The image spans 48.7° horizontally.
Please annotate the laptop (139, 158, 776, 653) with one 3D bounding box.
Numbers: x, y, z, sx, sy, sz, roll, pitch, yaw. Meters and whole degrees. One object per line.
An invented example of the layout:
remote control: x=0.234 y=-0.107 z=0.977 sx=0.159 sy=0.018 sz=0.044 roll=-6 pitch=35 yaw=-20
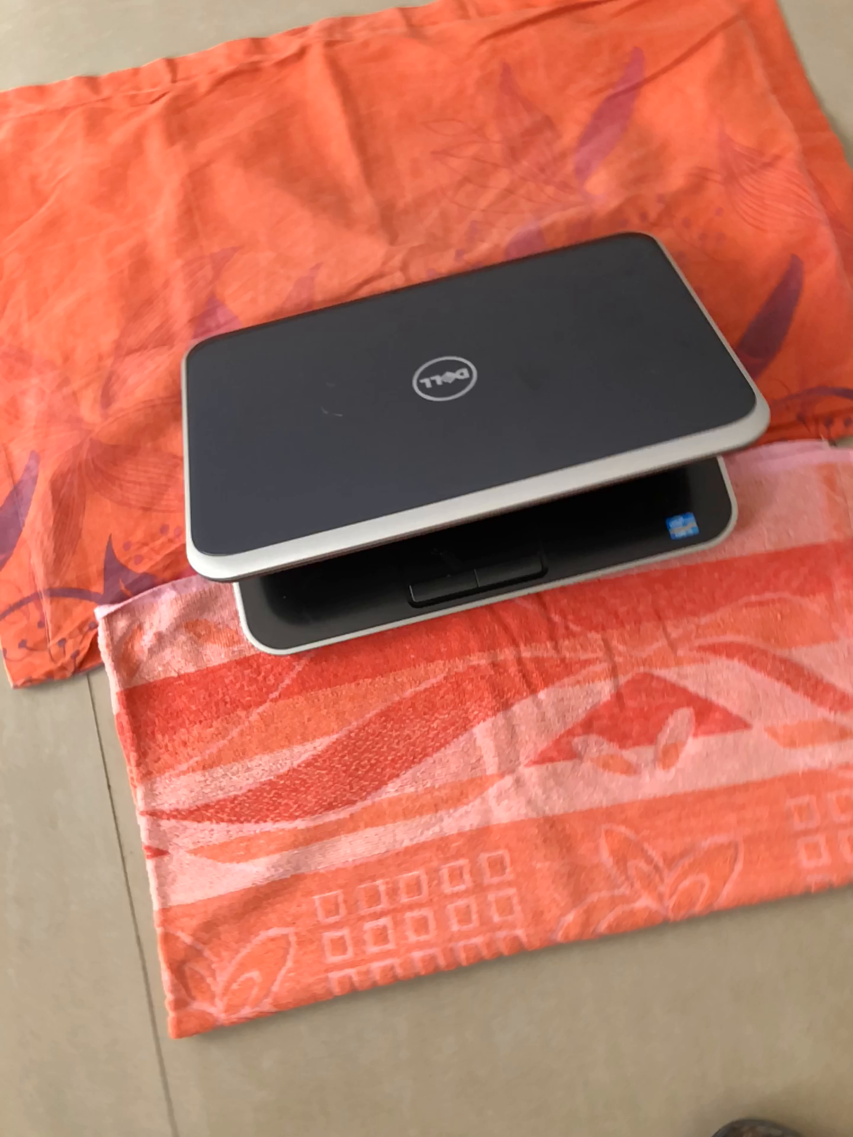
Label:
laptop: x=0.014 y=-0.102 z=0.644 sx=0.345 sy=0.129 sz=0.241 roll=-13 pitch=78 yaw=-1
